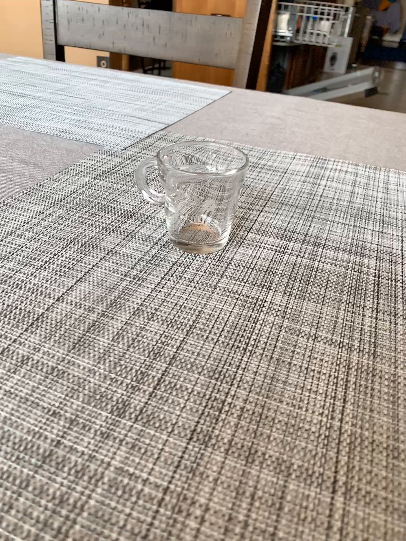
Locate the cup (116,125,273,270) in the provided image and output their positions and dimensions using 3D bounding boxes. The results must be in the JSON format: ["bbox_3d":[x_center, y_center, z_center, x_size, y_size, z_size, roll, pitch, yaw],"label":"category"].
[{"bbox_3d":[-0.006,-0.051,0.279,0.083,0.060,0.058,17,37,14],"label":"cup"}]
